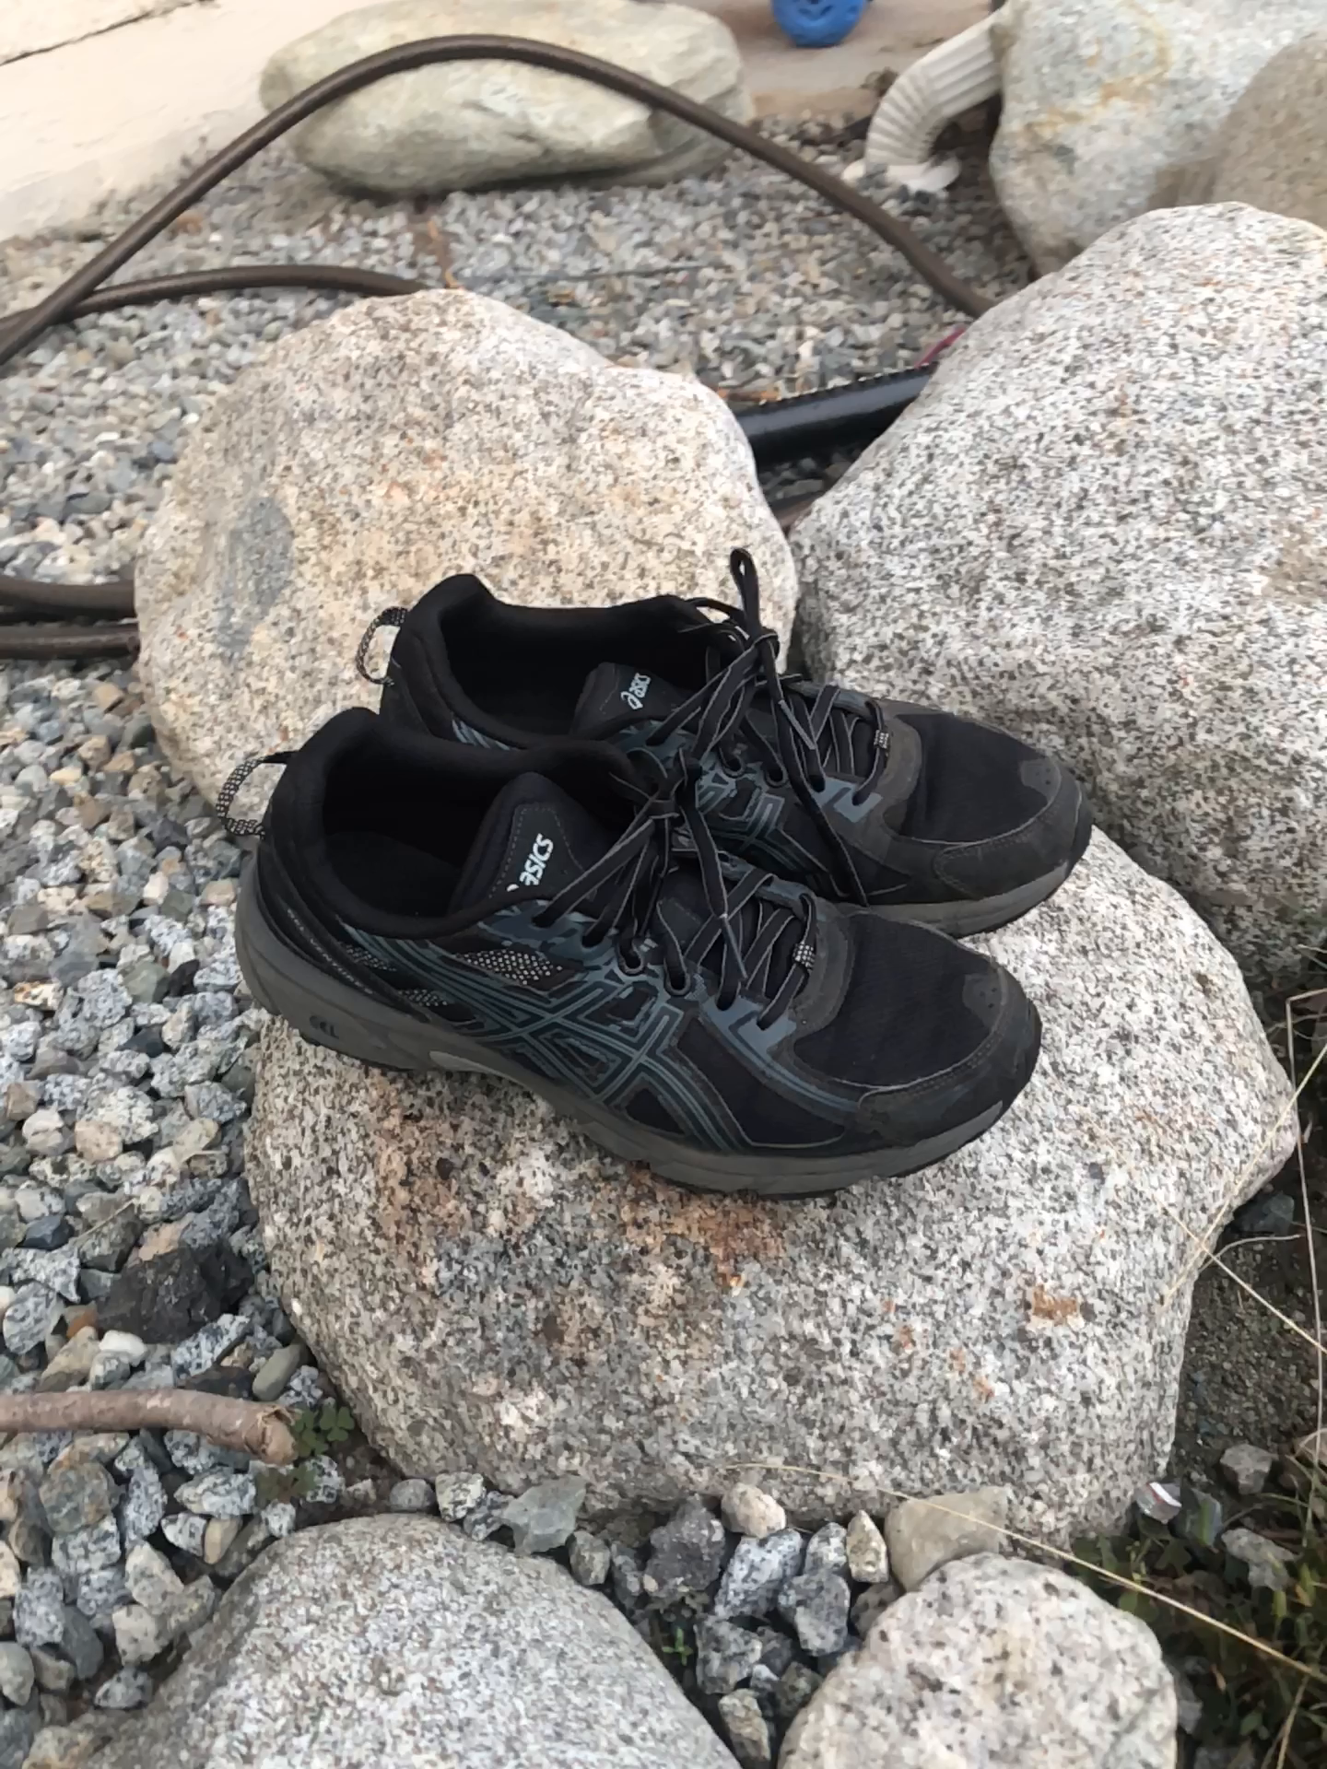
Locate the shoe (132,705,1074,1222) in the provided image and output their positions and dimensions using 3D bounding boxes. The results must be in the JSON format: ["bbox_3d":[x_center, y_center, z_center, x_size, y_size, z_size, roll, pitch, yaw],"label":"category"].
[{"bbox_3d":[-0.011,0.019,0.495,0.280,0.099,0.121,4,41,12],"label":"shoe"}]

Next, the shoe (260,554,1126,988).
[{"bbox_3d":[0.017,-0.050,0.554,0.290,0.099,0.121,4,41,12],"label":"shoe"}]
